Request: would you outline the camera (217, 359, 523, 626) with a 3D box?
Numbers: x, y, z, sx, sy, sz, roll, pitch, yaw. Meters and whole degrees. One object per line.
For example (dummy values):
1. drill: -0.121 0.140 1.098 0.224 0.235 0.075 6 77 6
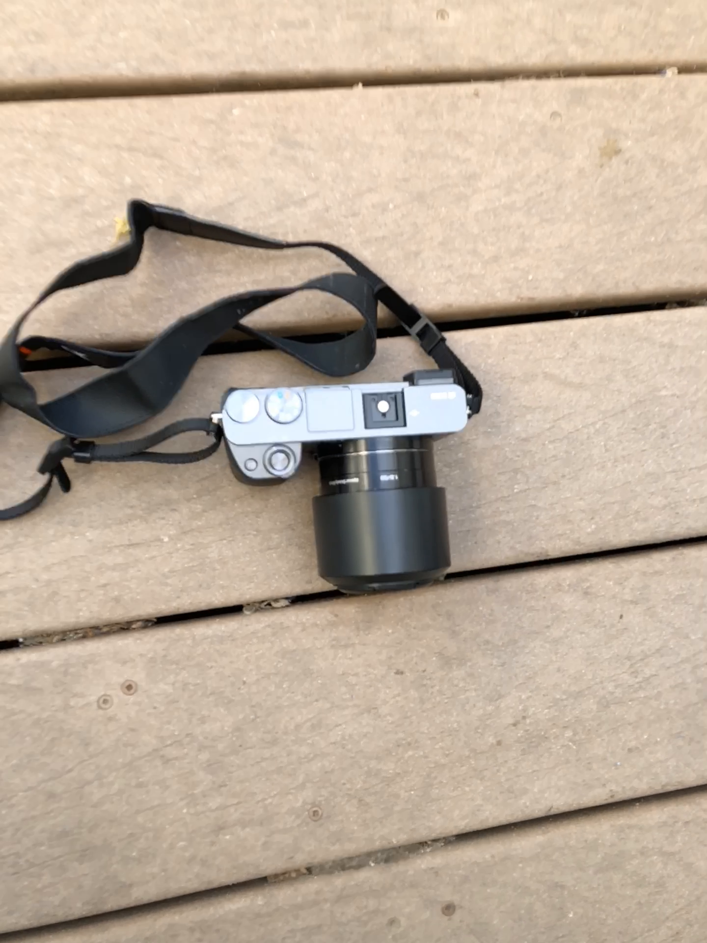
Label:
1. camera: 0.003 0.010 0.378 0.130 0.070 0.110 -4 85 -10
